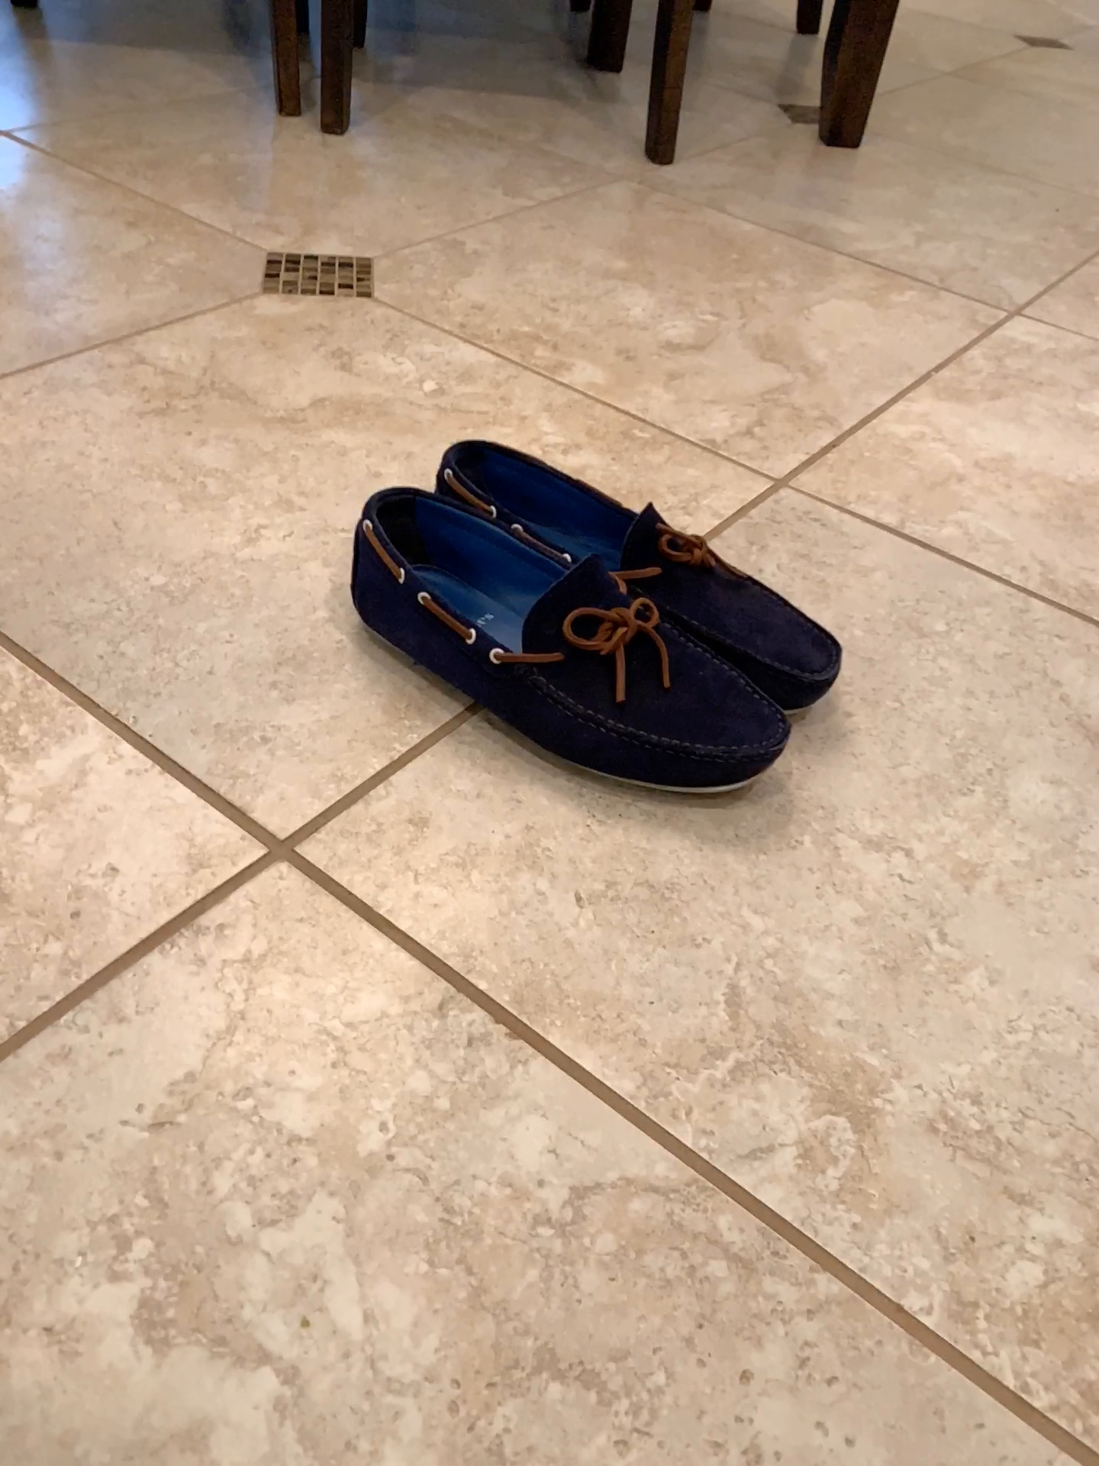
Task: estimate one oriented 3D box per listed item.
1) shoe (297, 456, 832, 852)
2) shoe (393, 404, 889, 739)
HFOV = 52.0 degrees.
[{"bbox_3d":[0.000,-0.054,0.629,0.281,0.074,0.099,28,46,21],"label":"shoe"},{"bbox_3d":[0.049,-0.107,0.692,0.281,0.074,0.099,25,44,17],"label":"shoe"}]
